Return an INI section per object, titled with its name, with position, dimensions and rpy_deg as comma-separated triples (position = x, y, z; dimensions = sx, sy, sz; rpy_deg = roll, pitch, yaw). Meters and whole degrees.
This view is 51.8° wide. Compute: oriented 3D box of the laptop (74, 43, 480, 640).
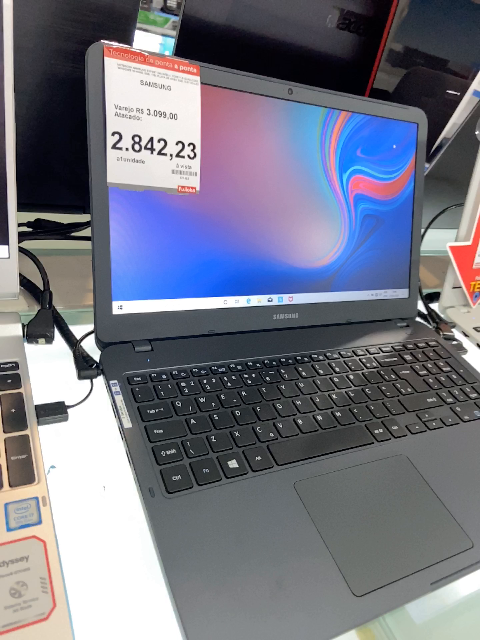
[laptop]
position = 0.095, -0.032, 0.397
dimensions = 0.367, 0.193, 0.370
rpy_deg = -3, 40, -28
